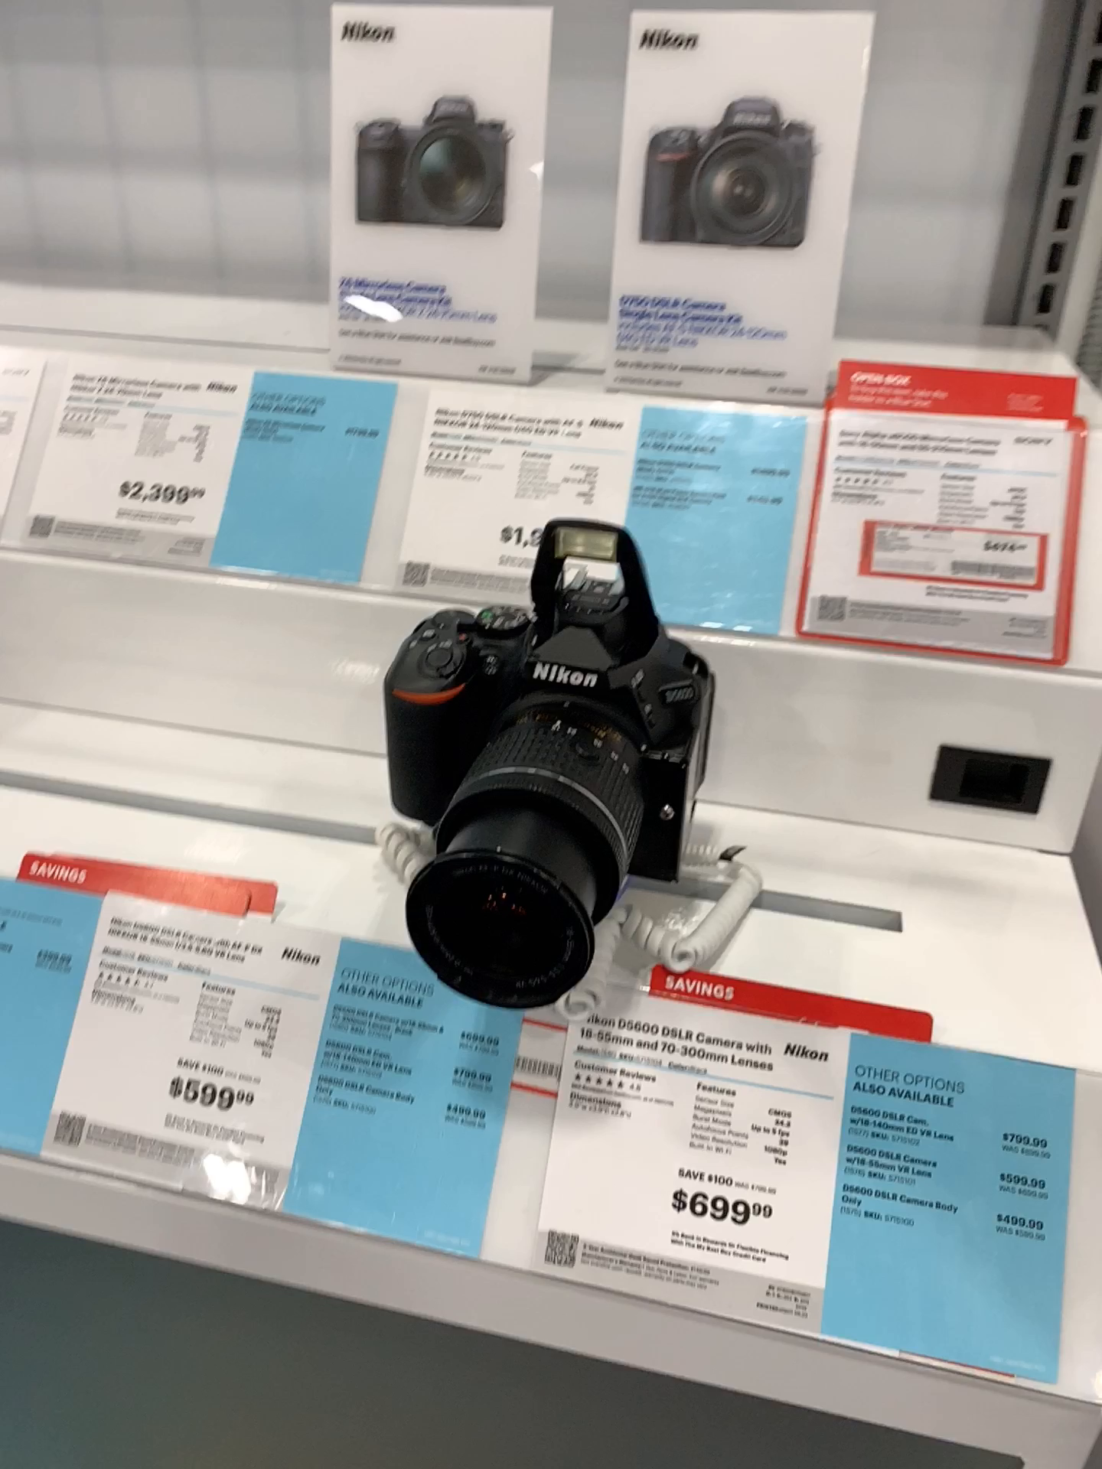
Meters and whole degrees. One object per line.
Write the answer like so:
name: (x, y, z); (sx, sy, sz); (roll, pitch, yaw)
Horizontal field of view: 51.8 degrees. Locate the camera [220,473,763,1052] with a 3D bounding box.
camera: (-0.003, -0.007, 0.396); (0.140, 0.109, 0.191); (6, 28, 8)
